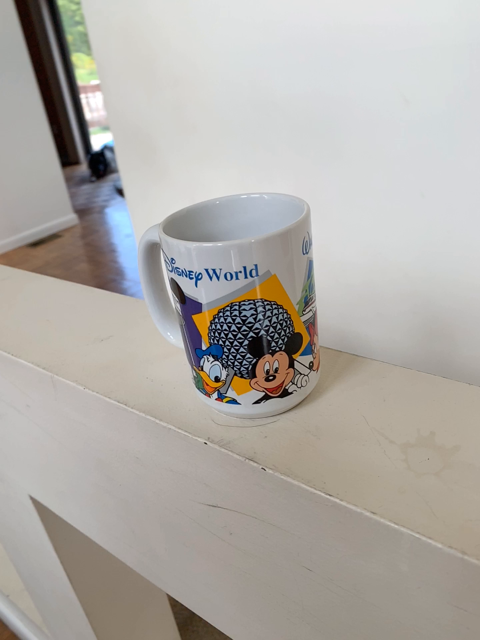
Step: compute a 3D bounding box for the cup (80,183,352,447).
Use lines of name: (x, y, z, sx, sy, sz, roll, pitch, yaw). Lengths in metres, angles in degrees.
cup: (-0.014, -0.015, 0.308, 0.140, 0.109, 0.080, 19, 38, 40)
